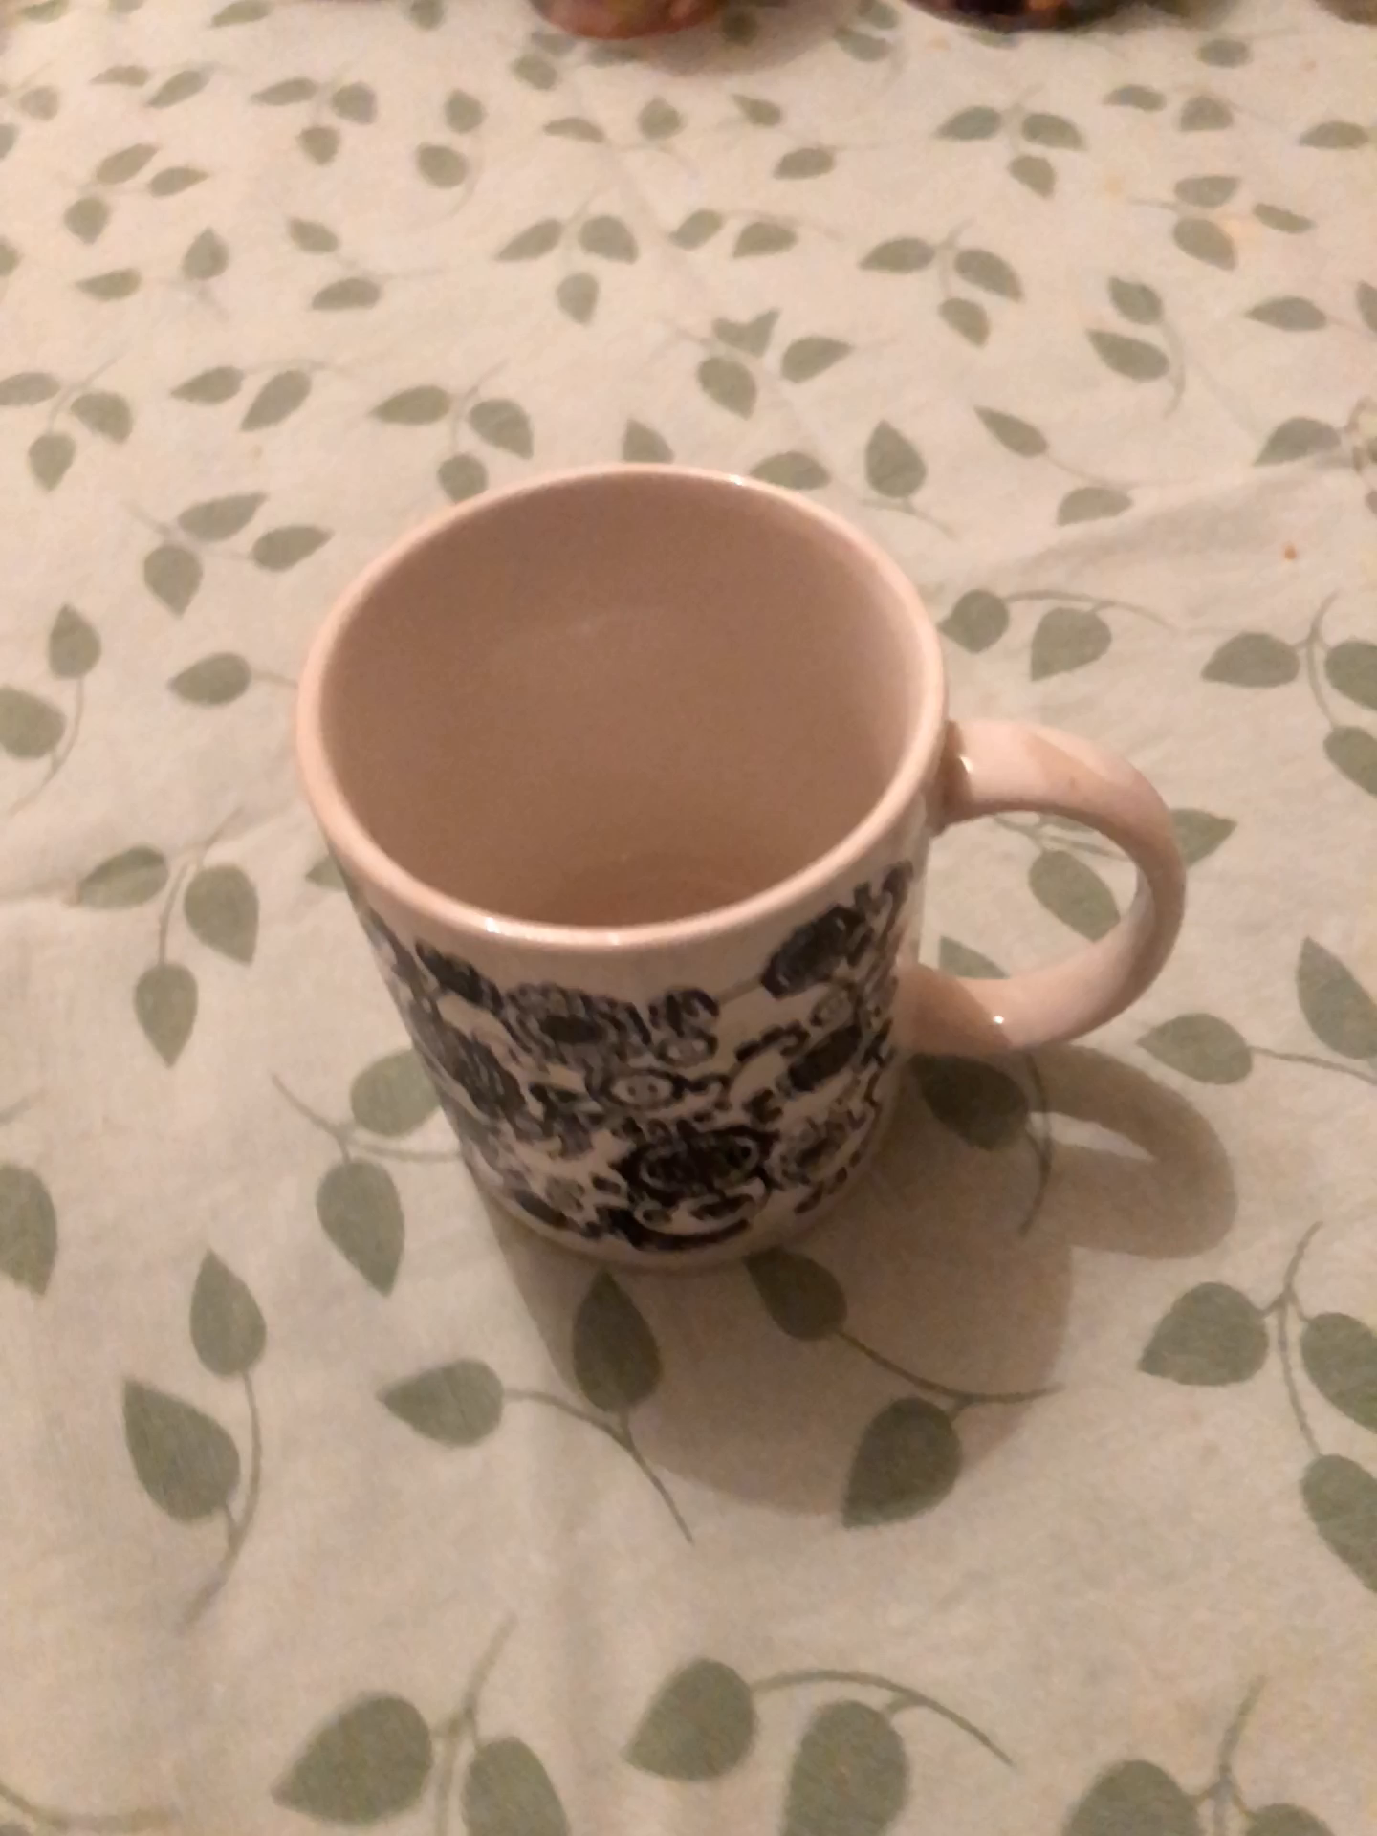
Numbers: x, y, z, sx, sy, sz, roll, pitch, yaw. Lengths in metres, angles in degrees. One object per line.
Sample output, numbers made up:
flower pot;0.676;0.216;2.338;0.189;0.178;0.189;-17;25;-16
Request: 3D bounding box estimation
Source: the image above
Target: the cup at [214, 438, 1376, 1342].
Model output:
cup;0.016;0.000;0.219;0.120;0.099;0.080;3;56;5
